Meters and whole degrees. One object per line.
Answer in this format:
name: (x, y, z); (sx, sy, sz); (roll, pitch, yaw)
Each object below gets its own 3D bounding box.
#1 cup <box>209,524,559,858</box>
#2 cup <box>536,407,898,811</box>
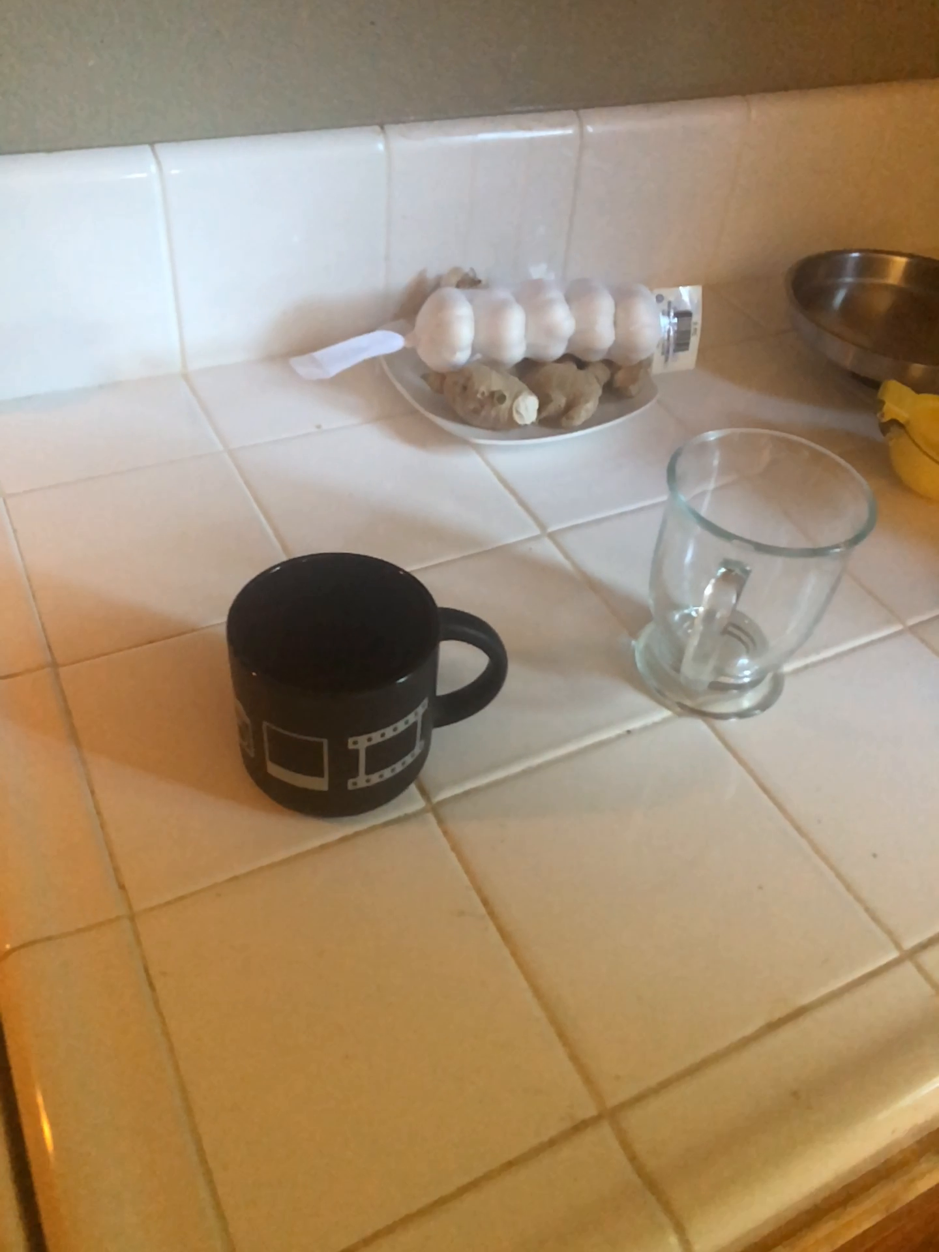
cup: (-0.042, 0.026, 0.453); (0.130, 0.089, 0.101); (-5, 45, -12)
cup: (0.119, -0.013, 0.507); (0.100, 0.109, 0.141); (29, 48, 22)
